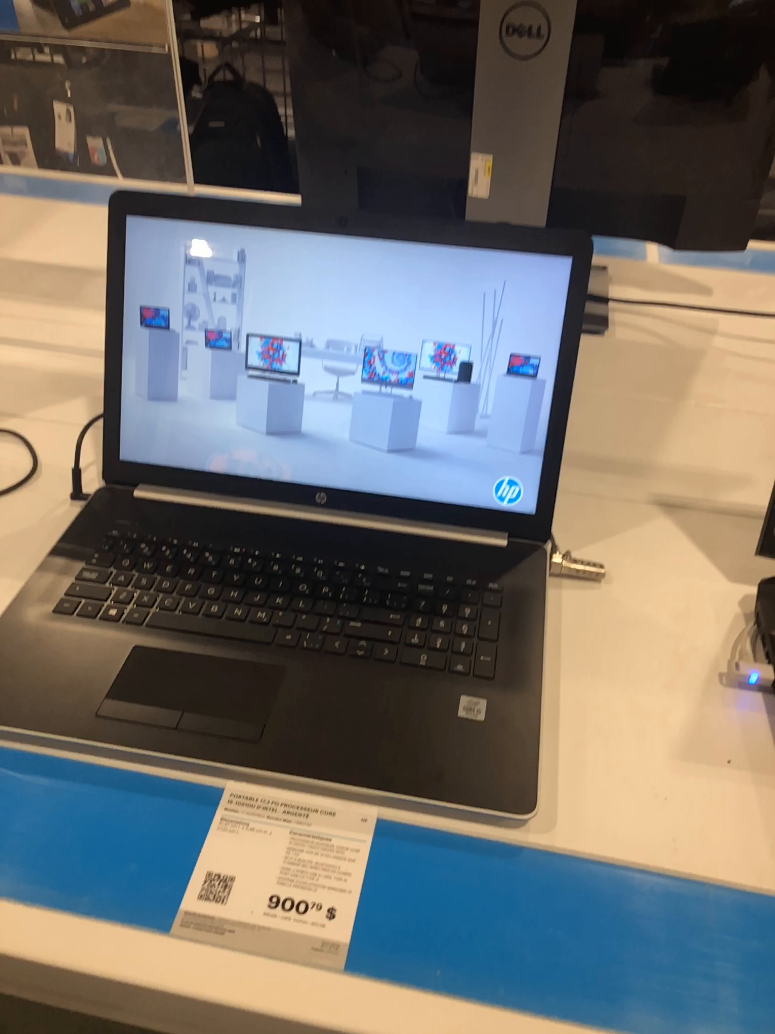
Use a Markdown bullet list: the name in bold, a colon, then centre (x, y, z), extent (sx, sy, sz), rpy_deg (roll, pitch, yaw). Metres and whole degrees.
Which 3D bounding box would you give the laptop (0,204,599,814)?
- **laptop**: centre (-0.077, -0.045, 0.645), extent (0.411, 0.242, 0.382), rpy_deg (7, 37, 7)
